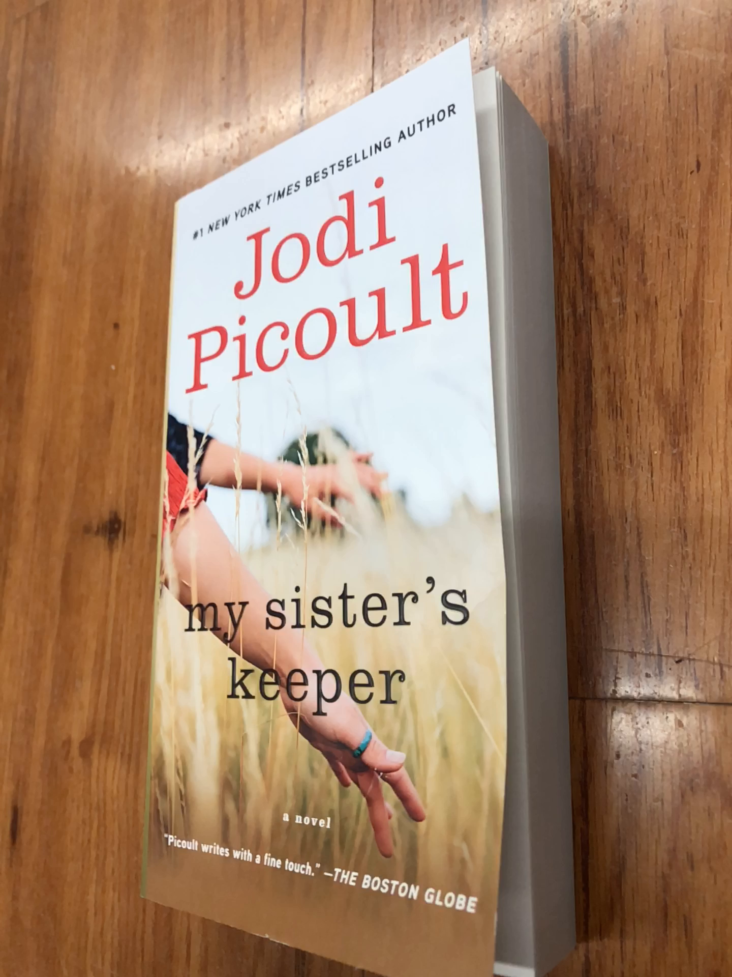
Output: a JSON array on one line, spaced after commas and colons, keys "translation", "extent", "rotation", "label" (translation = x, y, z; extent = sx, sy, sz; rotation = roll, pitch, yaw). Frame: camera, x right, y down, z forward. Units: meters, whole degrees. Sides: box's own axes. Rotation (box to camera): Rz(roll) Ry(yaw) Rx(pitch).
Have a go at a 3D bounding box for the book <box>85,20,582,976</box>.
[{"translation": [-0.012, 0.006, 0.199], "extent": [0.110, 0.040, 0.190], "rotation": [-7, 77, 37], "label": "book"}]
